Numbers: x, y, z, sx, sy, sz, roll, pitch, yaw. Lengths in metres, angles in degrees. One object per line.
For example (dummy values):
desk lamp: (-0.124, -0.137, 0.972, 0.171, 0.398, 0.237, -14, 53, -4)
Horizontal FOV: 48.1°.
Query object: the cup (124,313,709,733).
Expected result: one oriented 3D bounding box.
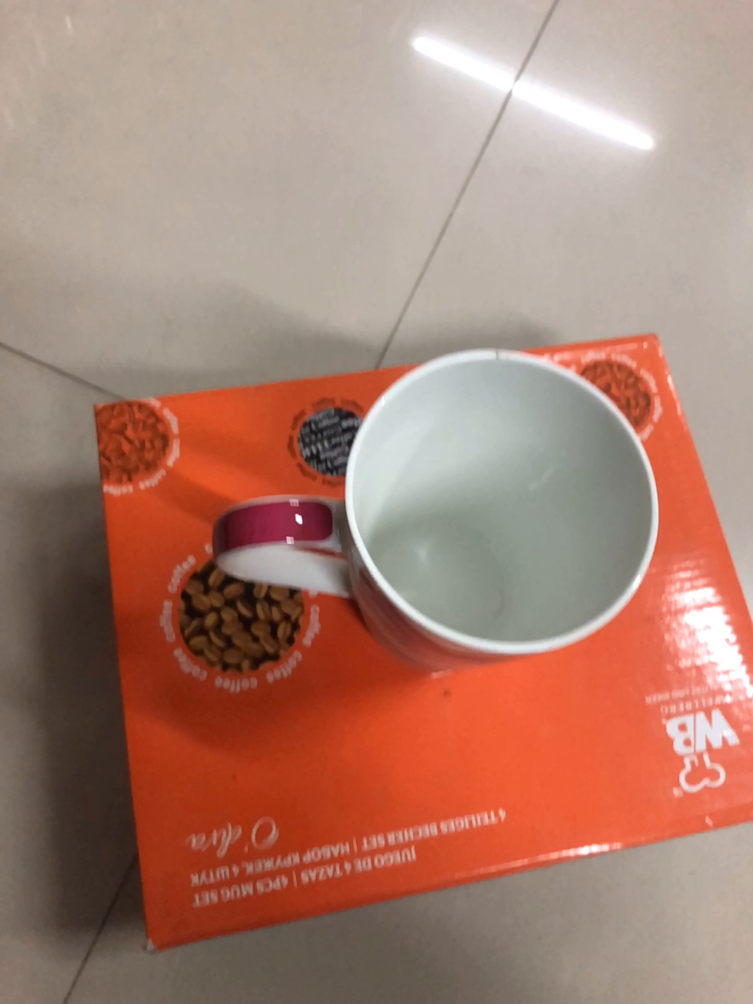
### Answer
cup: (0.003, 0.014, 0.251, 0.130, 0.110, 0.090, -3, 73, -6)
